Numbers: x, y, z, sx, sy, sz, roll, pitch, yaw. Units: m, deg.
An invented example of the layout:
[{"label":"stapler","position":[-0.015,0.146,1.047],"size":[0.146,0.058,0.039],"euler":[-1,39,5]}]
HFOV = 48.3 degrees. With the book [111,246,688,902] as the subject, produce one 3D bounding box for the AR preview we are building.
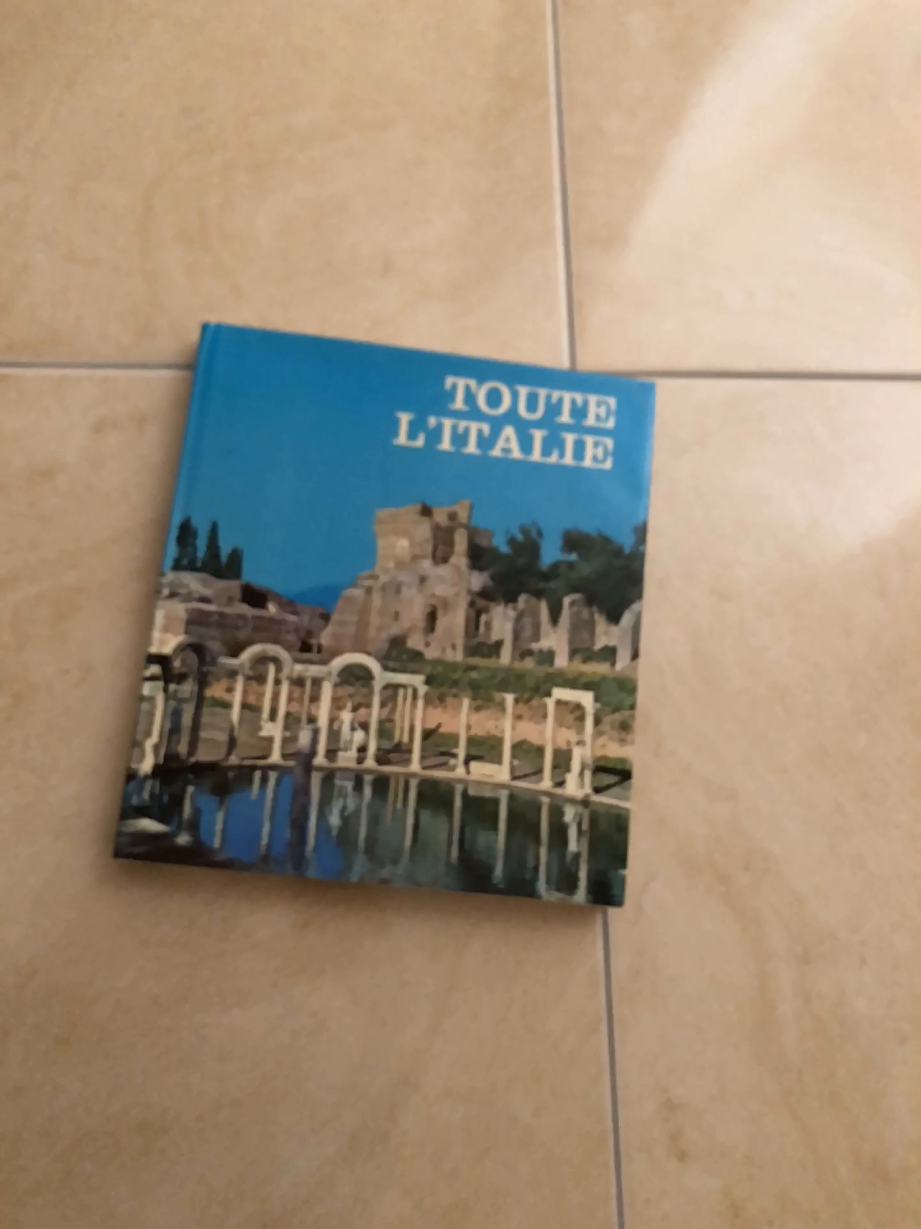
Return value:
[{"label":"book","position":[-0.020,-0.021,0.506],"size":[0.240,0.050,0.290],"euler":[7,78,-4]}]
